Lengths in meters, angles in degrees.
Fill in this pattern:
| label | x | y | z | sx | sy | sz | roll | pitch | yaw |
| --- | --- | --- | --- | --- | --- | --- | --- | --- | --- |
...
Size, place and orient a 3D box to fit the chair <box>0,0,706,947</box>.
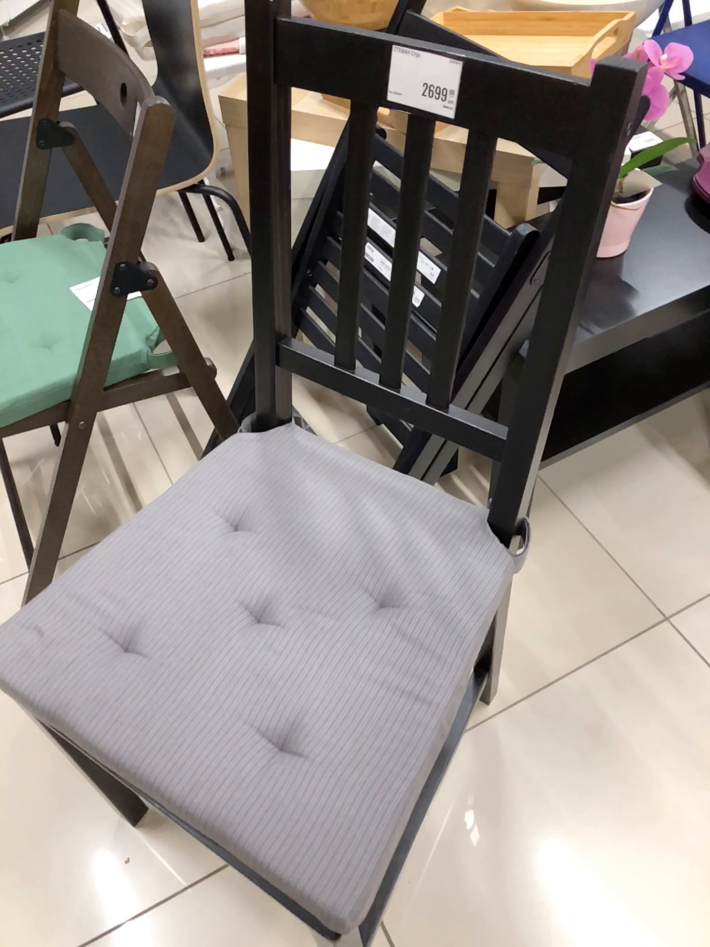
| label | x | y | z | sx | sy | sz | roll | pitch | yaw |
| --- | --- | --- | --- | --- | --- | --- | --- | --- | --- |
| chair | -0.062 | 0.120 | 0.775 | 0.411 | 0.894 | 0.492 | 25 | 56 | 23 |
